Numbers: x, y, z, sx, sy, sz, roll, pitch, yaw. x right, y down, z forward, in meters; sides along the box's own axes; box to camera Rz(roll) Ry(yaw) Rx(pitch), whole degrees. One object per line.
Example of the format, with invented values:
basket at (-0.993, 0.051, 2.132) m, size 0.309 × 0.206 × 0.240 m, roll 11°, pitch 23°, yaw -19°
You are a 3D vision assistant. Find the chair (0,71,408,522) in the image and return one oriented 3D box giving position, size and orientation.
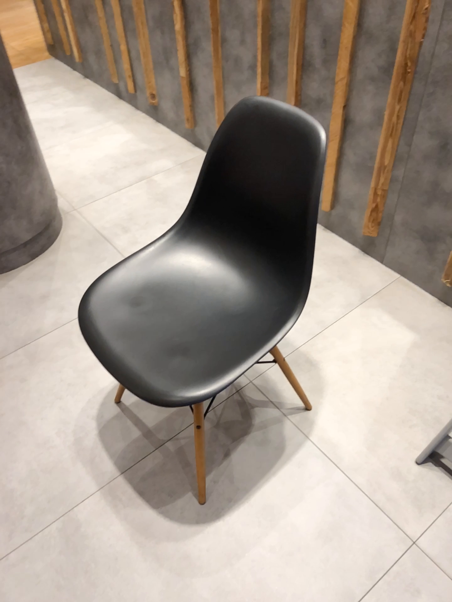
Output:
chair at (-0.039, -0.006, 1.171) m, size 0.565 × 0.757 × 0.510 m, roll -33°, pitch 53°, yaw -26°
